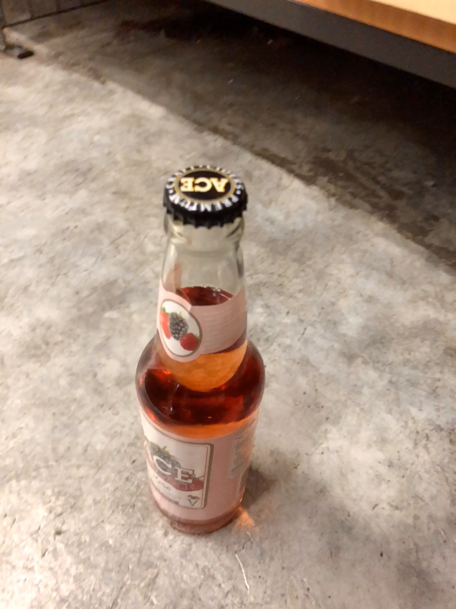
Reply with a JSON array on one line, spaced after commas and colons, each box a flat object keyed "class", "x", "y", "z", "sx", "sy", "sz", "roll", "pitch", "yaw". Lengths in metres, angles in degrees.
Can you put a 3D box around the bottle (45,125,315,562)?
[{"class": "bottle", "x": -0.019, "y": 0.040, "z": 0.241, "sx": 0.062, "sy": 0.221, "sz": 0.060, "roll": 2, "pitch": 46, "yaw": -2}]
